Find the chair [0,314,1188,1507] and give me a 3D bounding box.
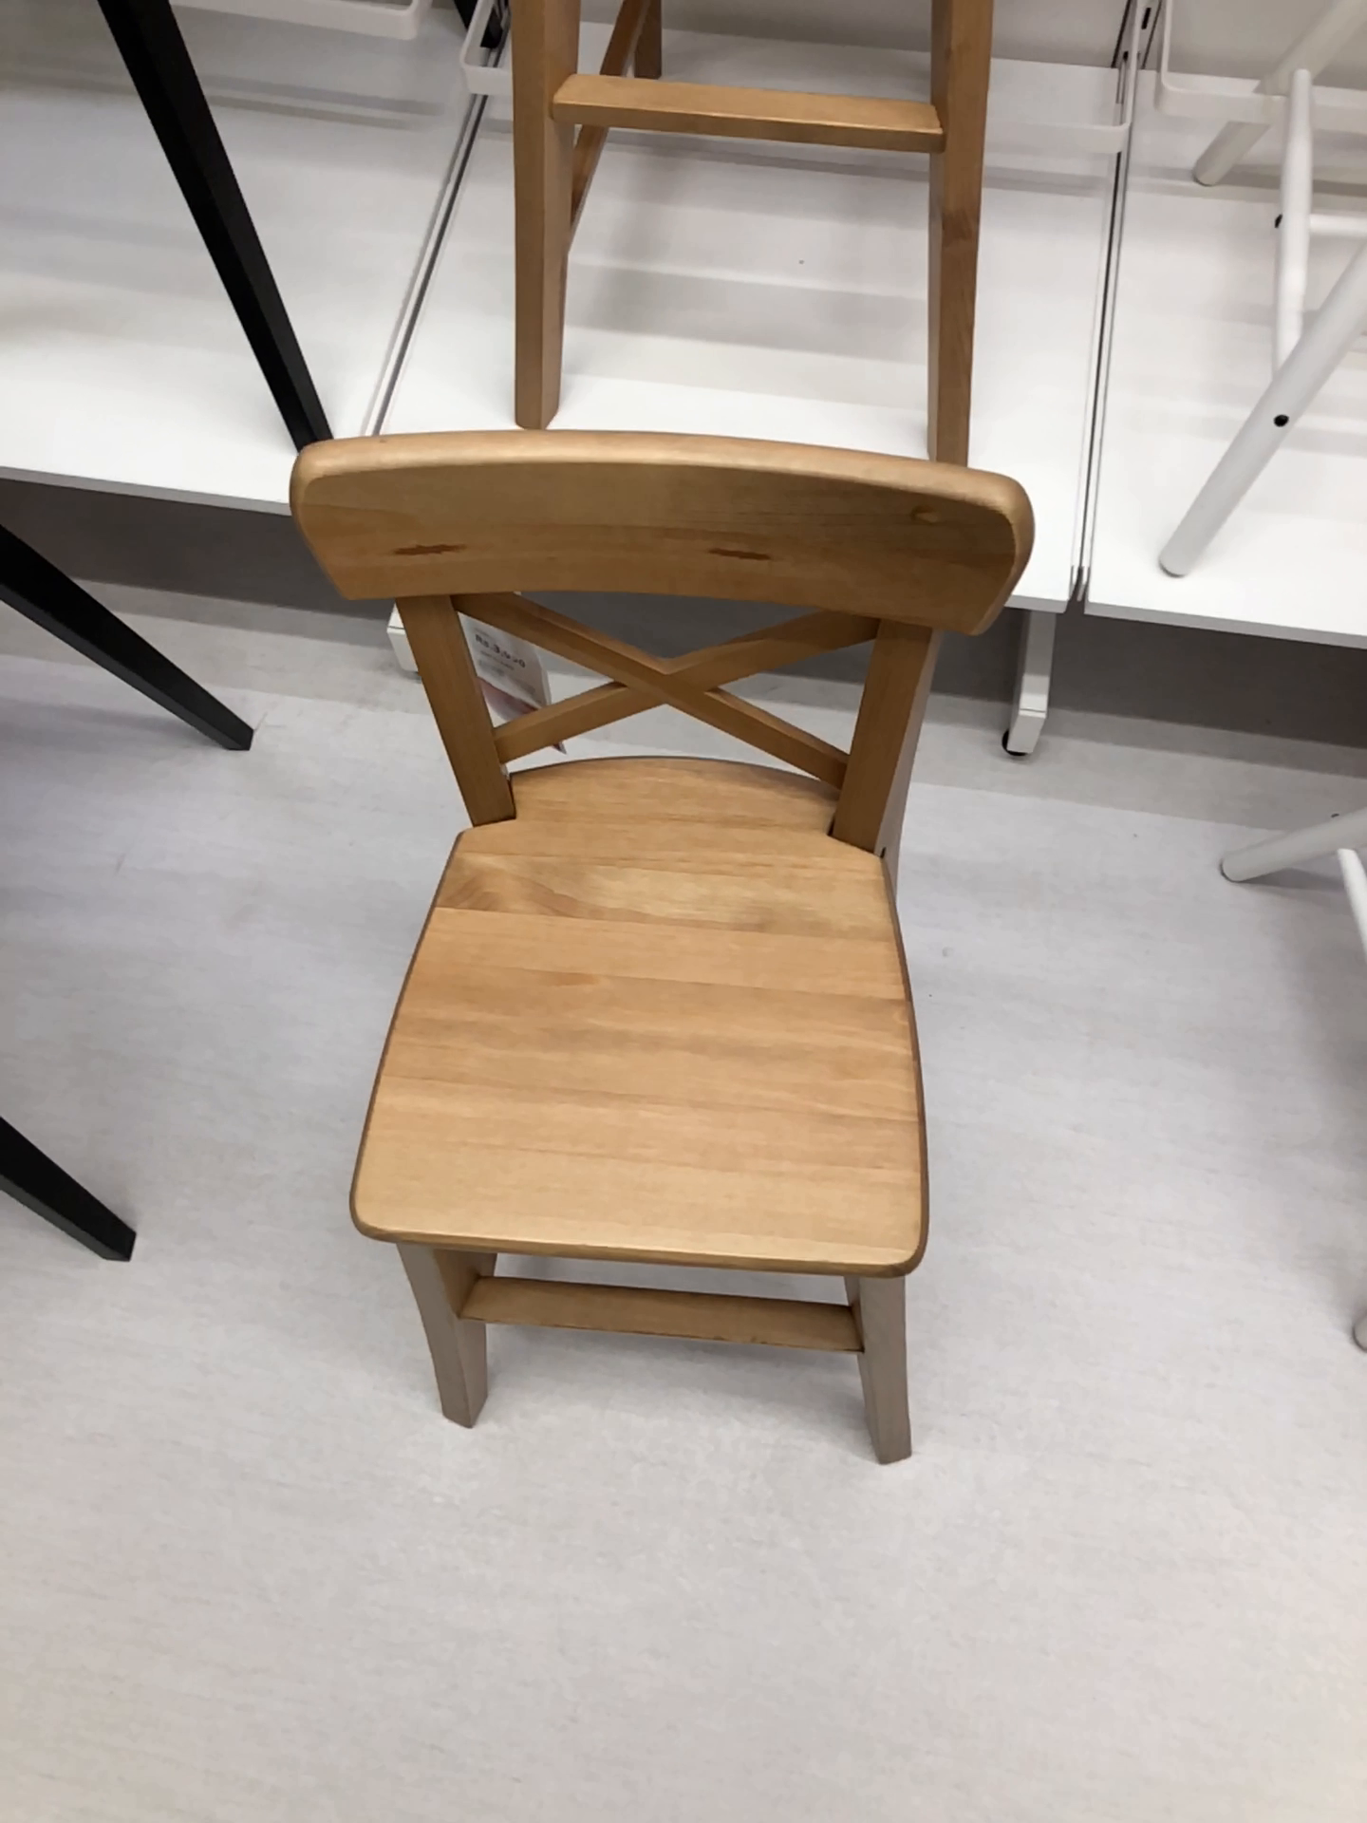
[{"bbox_3d":[-0.003,0.083,0.871,0.390,0.678,0.431,5,67,4],"label":"chair"}]
